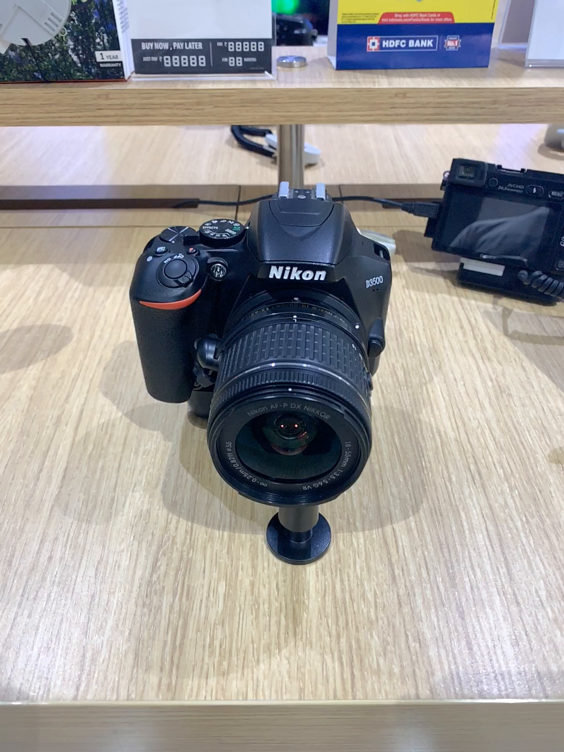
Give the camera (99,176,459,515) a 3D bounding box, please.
[{"bbox_3d":[0.000,-0.016,0.235,0.102,0.091,0.104,1,39,1],"label":"camera"}]
